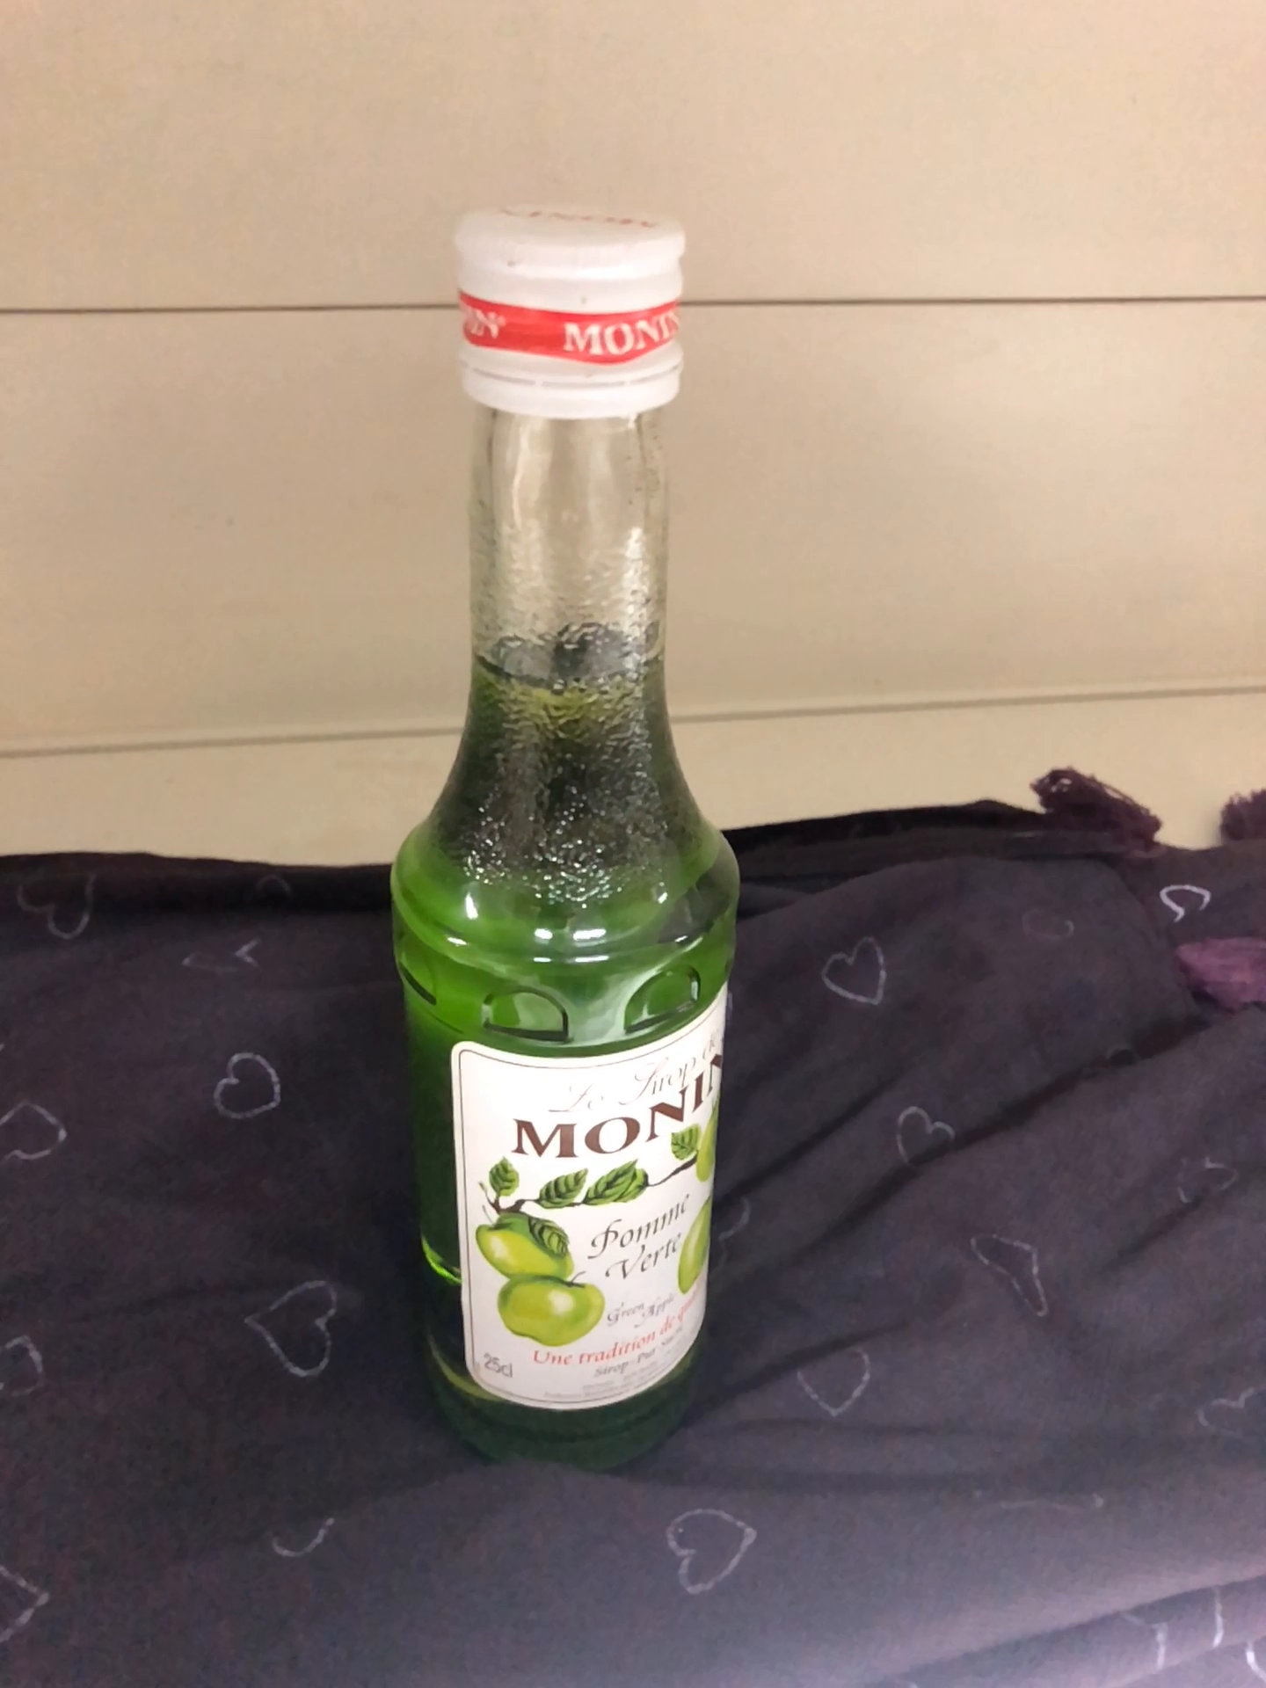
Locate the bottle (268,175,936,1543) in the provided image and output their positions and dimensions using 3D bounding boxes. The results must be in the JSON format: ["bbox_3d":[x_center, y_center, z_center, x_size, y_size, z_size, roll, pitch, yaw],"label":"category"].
[{"bbox_3d":[-0.008,0.009,0.219,0.060,0.199,0.060,1,30,0],"label":"bottle"}]
